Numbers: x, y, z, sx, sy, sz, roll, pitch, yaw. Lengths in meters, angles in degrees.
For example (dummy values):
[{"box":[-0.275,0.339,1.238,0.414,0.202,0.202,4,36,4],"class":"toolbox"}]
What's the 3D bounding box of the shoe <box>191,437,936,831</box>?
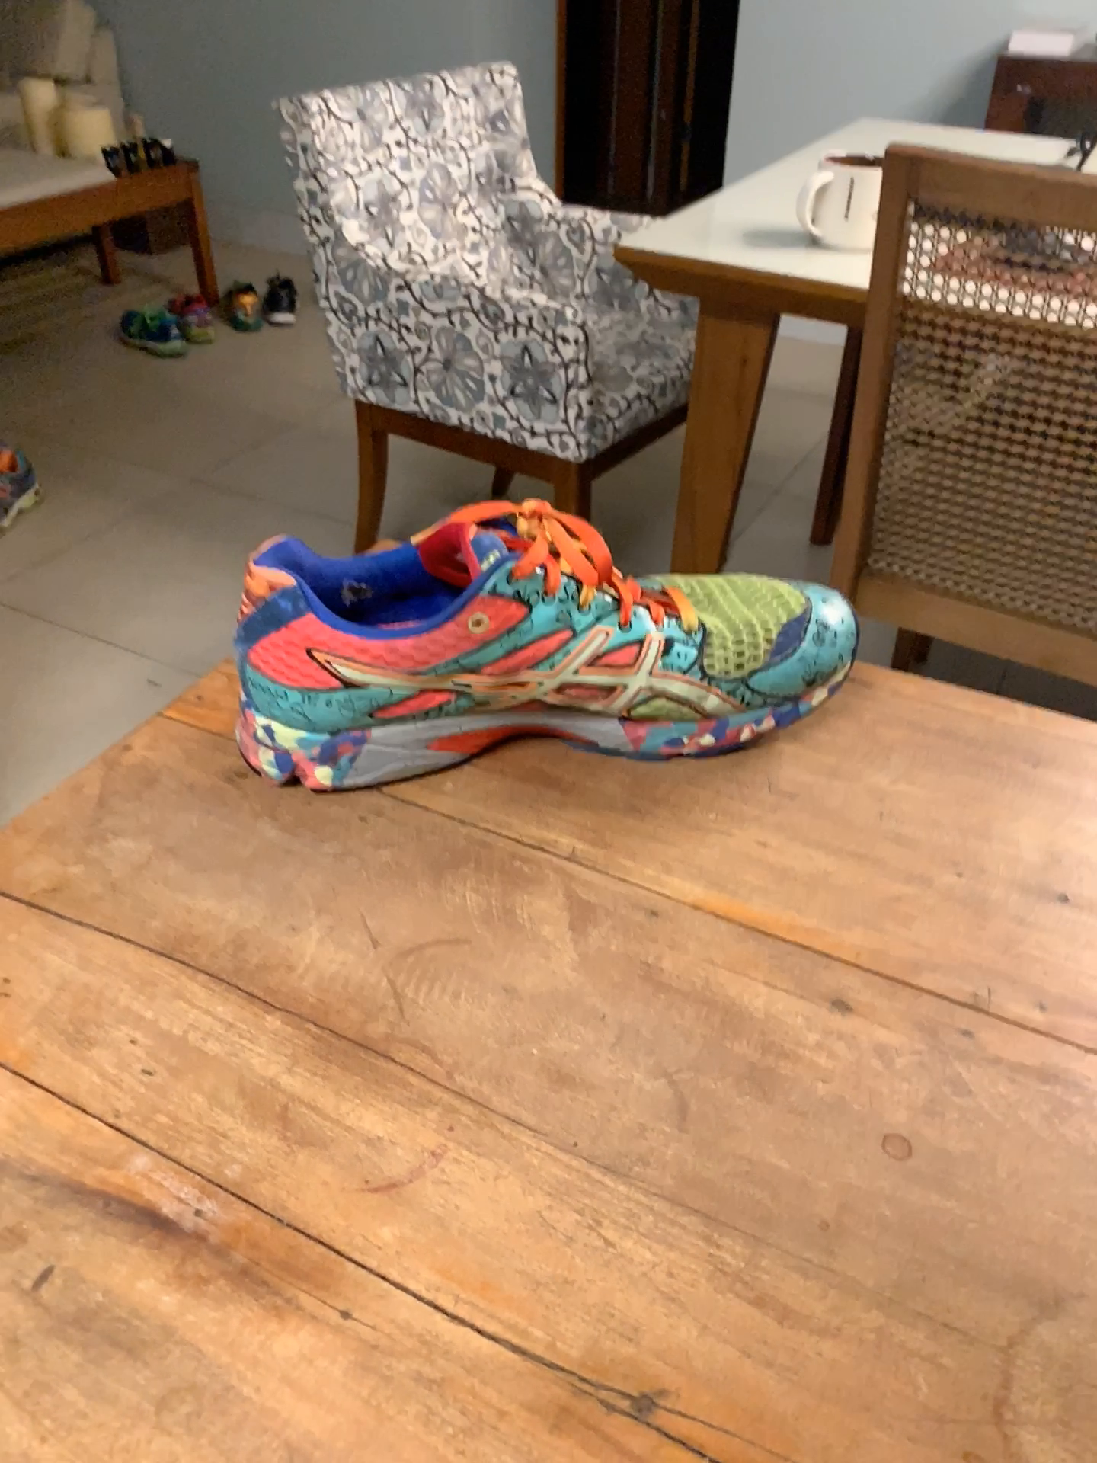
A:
[{"box":[0.003,-0.052,0.538,0.310,0.118,0.111,-6,38,-9],"class":"shoe"}]
